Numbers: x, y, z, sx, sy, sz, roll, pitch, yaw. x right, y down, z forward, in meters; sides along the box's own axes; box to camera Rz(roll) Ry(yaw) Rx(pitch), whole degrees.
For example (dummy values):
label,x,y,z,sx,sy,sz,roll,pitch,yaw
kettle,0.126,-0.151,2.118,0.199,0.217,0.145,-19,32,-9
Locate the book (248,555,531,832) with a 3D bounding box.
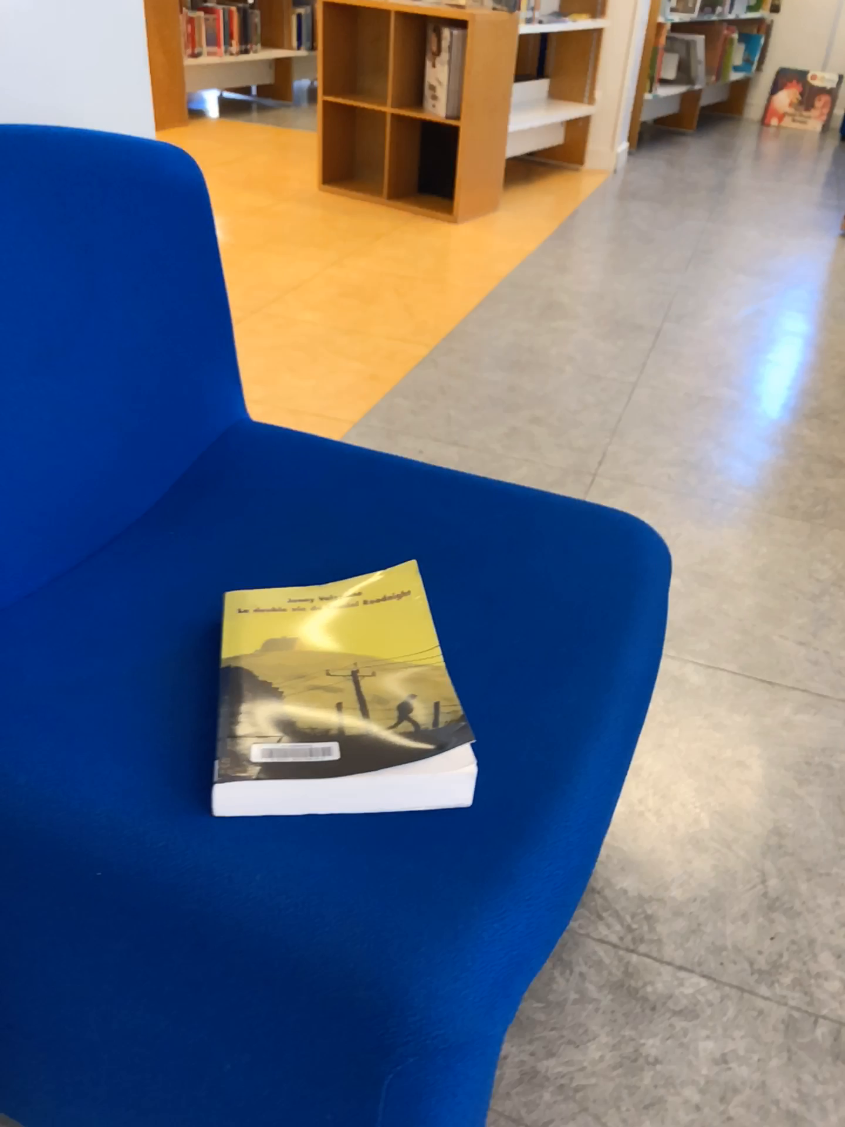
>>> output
label,x,y,z,sx,sy,sz,roll,pitch,yaw
book,-0.033,0.066,0.574,0.145,0.040,0.215,-2,29,-9
